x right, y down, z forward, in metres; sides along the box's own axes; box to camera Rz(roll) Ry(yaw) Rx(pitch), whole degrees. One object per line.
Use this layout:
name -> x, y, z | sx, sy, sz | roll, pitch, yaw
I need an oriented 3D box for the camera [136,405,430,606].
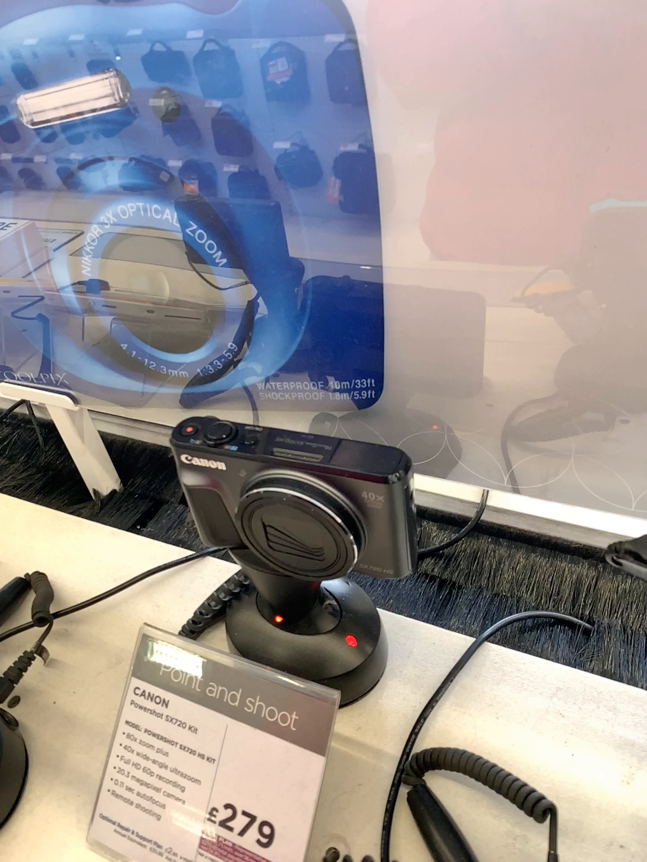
camera -> -0.015, 0.030, 0.280 | 0.113, 0.061, 0.031 | 9, 43, 22
